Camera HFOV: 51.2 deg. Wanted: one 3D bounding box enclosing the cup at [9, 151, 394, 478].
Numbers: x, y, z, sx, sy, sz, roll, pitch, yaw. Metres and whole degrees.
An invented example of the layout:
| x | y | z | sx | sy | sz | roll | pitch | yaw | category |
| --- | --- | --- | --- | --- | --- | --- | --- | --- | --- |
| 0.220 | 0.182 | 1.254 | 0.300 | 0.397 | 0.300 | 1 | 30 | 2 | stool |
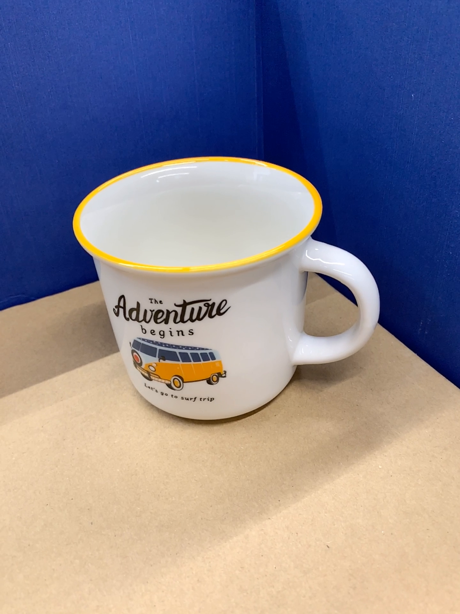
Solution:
| x | y | z | sx | sy | sz | roll | pitch | yaw | category |
| --- | --- | --- | --- | --- | --- | --- | --- | --- | --- |
| 0.000 | -0.007 | 0.211 | 0.124 | 0.083 | 0.102 | 8 | 37 | 15 | cup |
